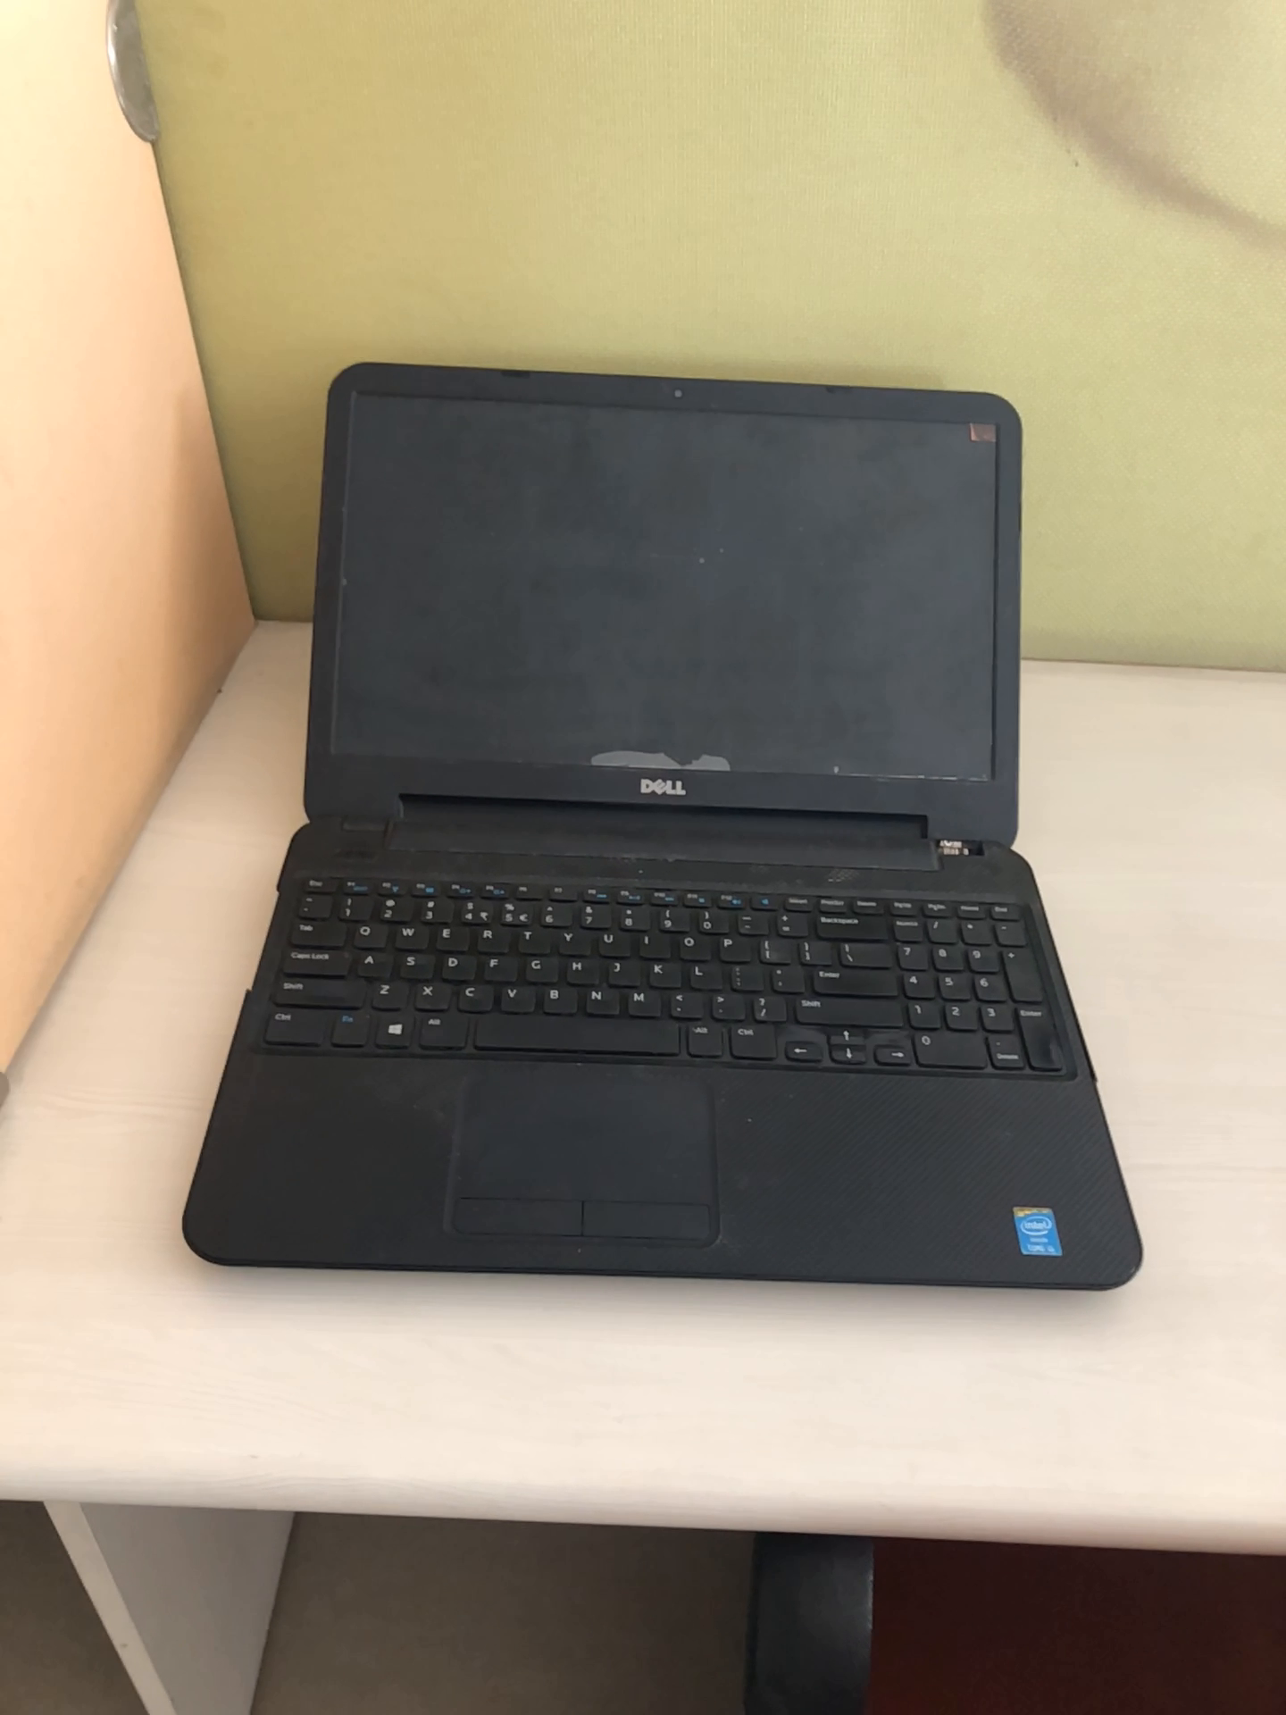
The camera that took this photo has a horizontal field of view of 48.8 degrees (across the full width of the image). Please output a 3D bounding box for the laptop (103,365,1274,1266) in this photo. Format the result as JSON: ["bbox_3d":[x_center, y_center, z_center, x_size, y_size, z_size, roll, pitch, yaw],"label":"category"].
[{"bbox_3d":[0.015,-0.052,0.644,0.356,0.165,0.427,2,41,-2],"label":"laptop"}]
